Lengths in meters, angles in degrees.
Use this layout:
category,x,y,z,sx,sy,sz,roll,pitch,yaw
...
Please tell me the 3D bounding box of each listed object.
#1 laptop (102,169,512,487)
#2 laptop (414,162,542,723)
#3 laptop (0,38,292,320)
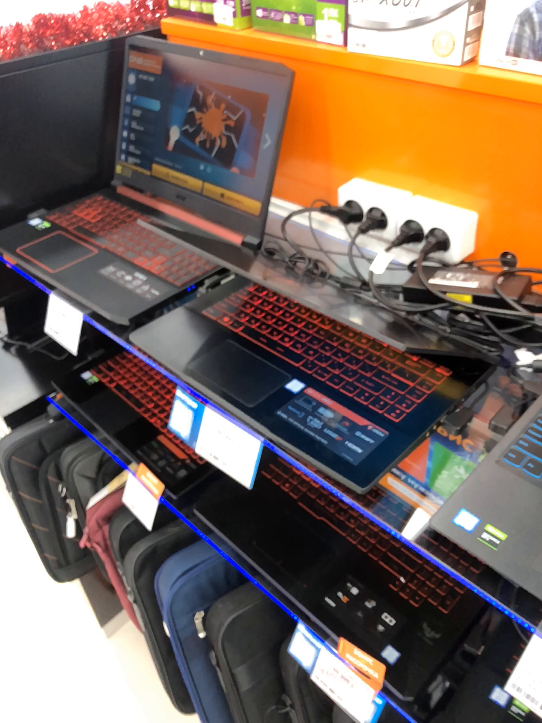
category,x,y,z,sx,sy,sz,roll,pitch,yaw
laptop,0.028,-0.066,0.649,0.348,0.134,0.226,30,49,33
laptop,0.339,0.044,0.397,0.278,0.228,0.327,-30,43,-30
laptop,-0.215,-0.295,0.878,0.366,0.225,0.330,29,48,33
